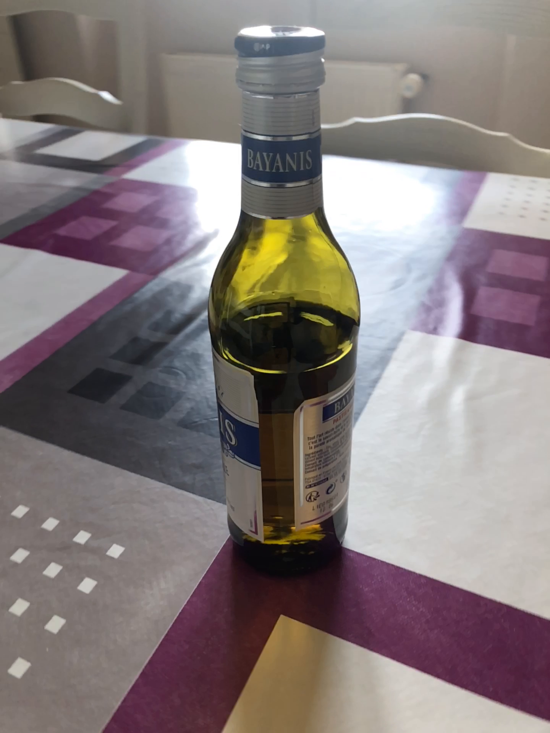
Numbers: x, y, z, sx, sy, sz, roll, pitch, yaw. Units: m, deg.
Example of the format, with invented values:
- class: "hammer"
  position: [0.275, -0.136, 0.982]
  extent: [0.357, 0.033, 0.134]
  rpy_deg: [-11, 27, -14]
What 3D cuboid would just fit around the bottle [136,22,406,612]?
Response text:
- class: "bottle"
  position: [0.006, -0.005, 0.277]
  extent: [0.070, 0.258, 0.070]
  rpy_deg: [-1, 35, 1]
